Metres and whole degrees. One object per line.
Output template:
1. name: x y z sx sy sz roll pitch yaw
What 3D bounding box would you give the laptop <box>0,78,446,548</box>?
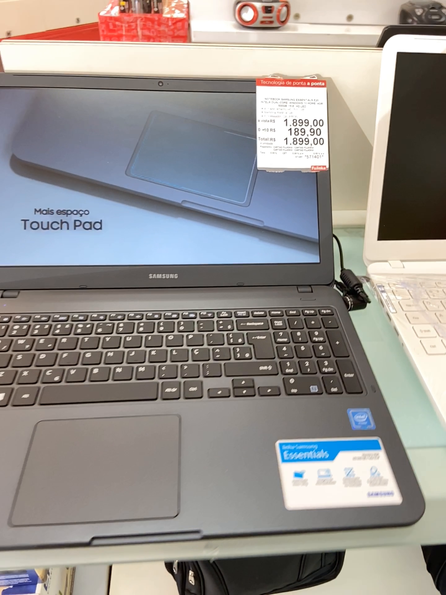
1. laptop: -0.058 -0.047 0.400 0.367 0.156 0.414 -1 41 -4
